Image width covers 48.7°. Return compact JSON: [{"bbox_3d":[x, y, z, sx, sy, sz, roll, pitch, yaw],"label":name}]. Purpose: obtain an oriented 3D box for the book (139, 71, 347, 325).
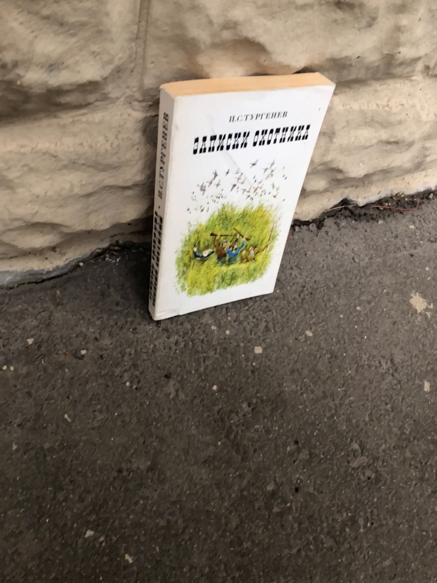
[{"bbox_3d":[0.011,-0.066,0.373,0.137,0.183,0.032,-14,46,-23],"label":"book"}]
